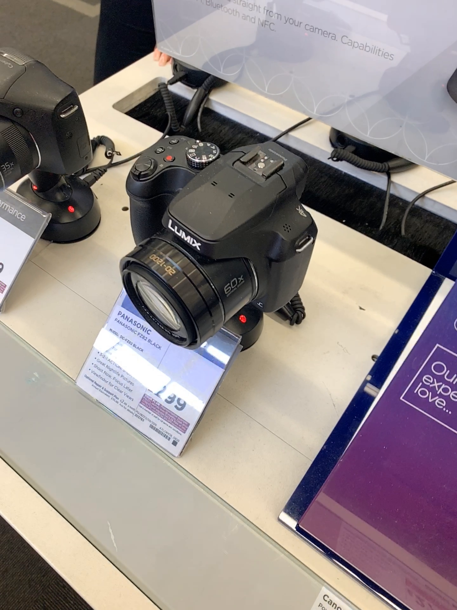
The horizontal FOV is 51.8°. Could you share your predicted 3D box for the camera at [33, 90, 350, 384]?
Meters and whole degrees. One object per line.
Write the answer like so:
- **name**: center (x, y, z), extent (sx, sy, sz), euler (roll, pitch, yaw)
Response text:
- **camera**: center (-0.020, -0.048, 0.295), extent (0.130, 0.079, 0.121), euler (35, 61, 21)
